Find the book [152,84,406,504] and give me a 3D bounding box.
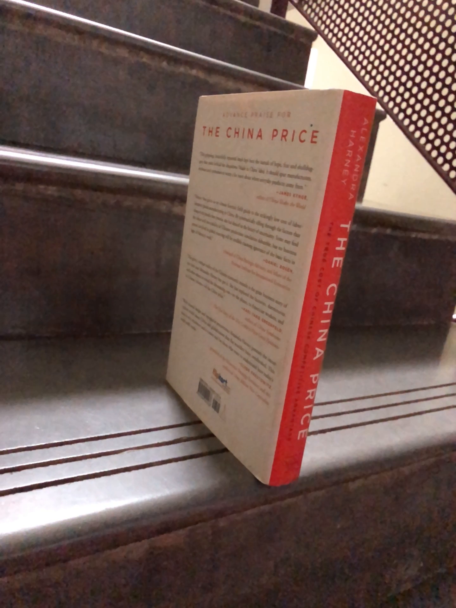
[{"bbox_3d":[0.013,-0.021,0.360,0.040,0.239,0.180,-1,18,-32],"label":"book"}]
